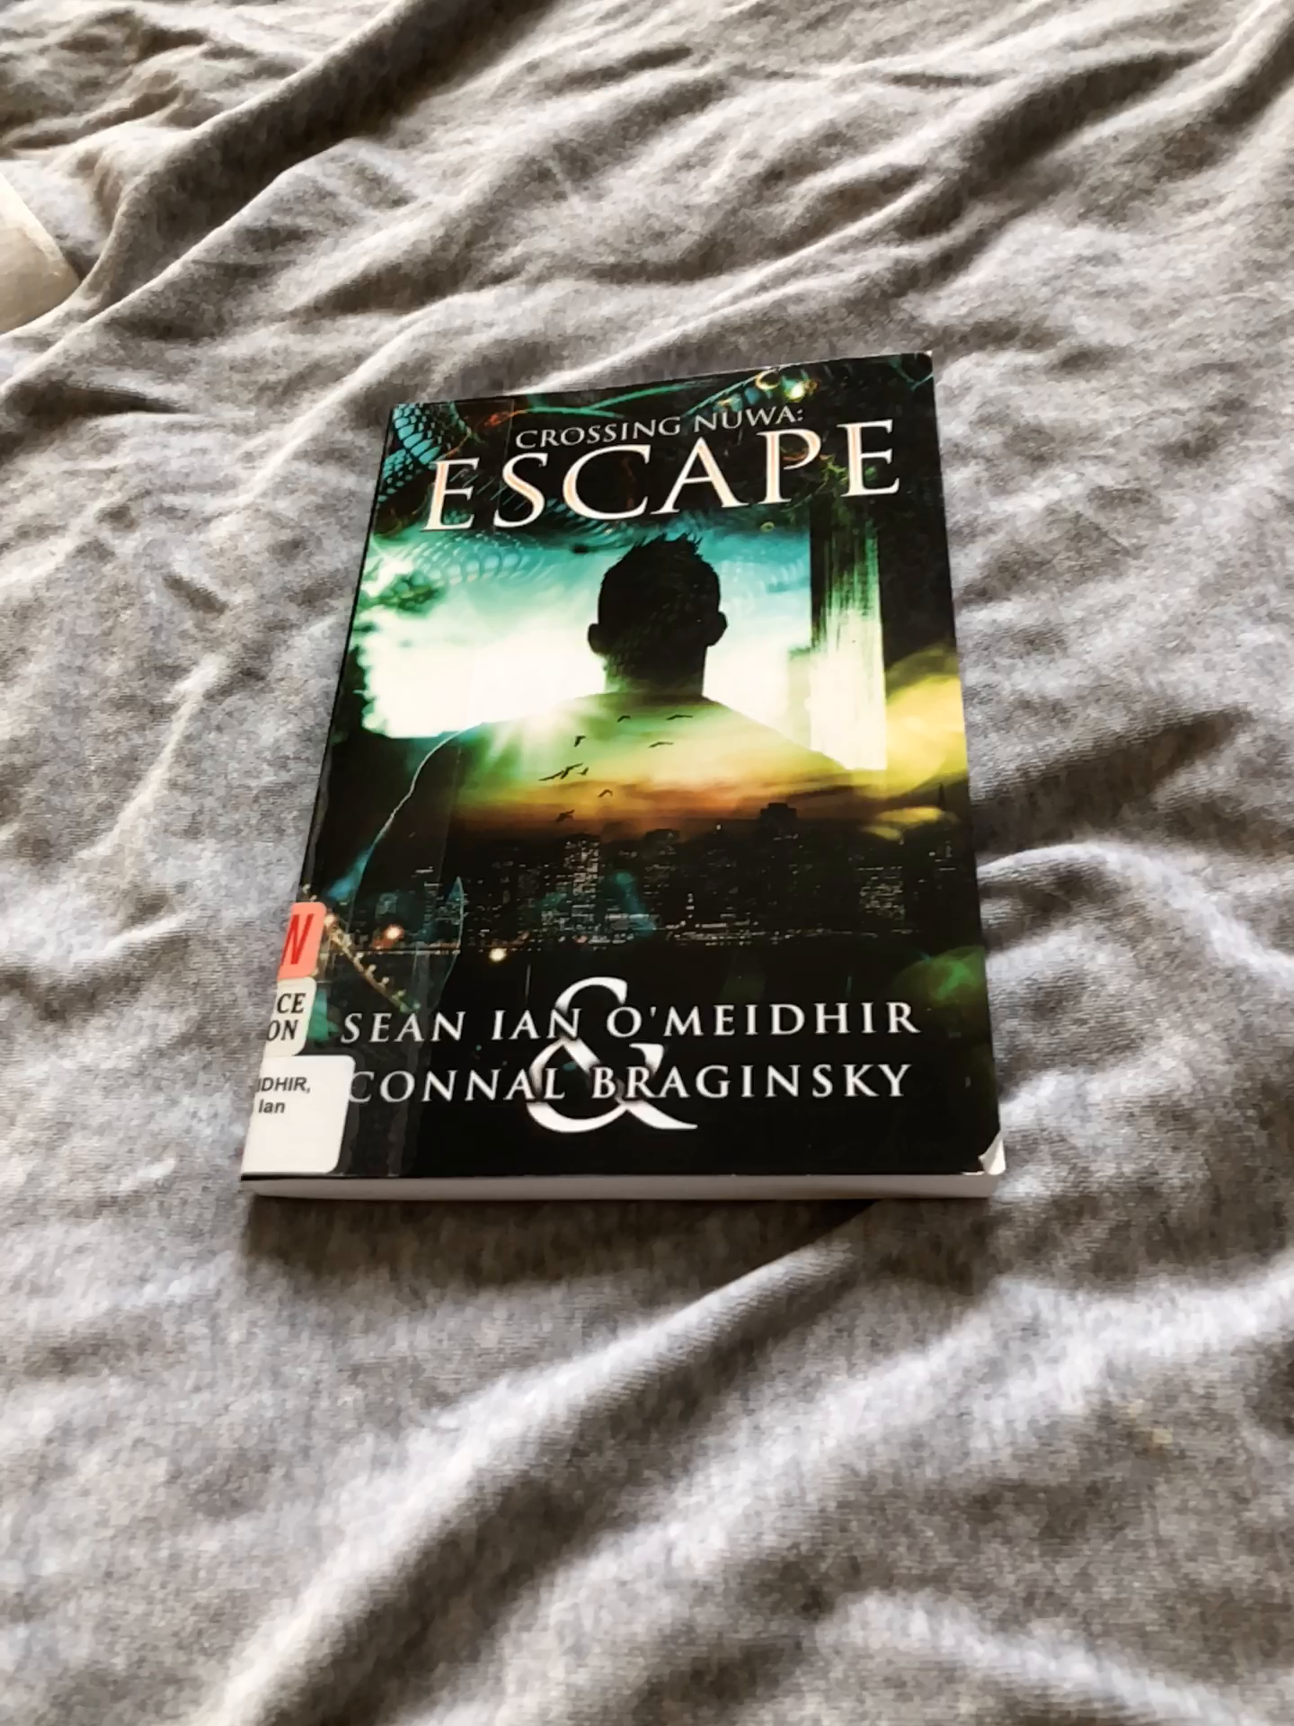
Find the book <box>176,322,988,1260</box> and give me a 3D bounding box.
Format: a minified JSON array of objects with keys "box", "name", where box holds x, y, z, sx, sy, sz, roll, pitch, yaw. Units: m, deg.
[{"box":[-0.008,-0.031,0.355,0.160,0.030,0.250,-2,58,9],"name":"book"}]
